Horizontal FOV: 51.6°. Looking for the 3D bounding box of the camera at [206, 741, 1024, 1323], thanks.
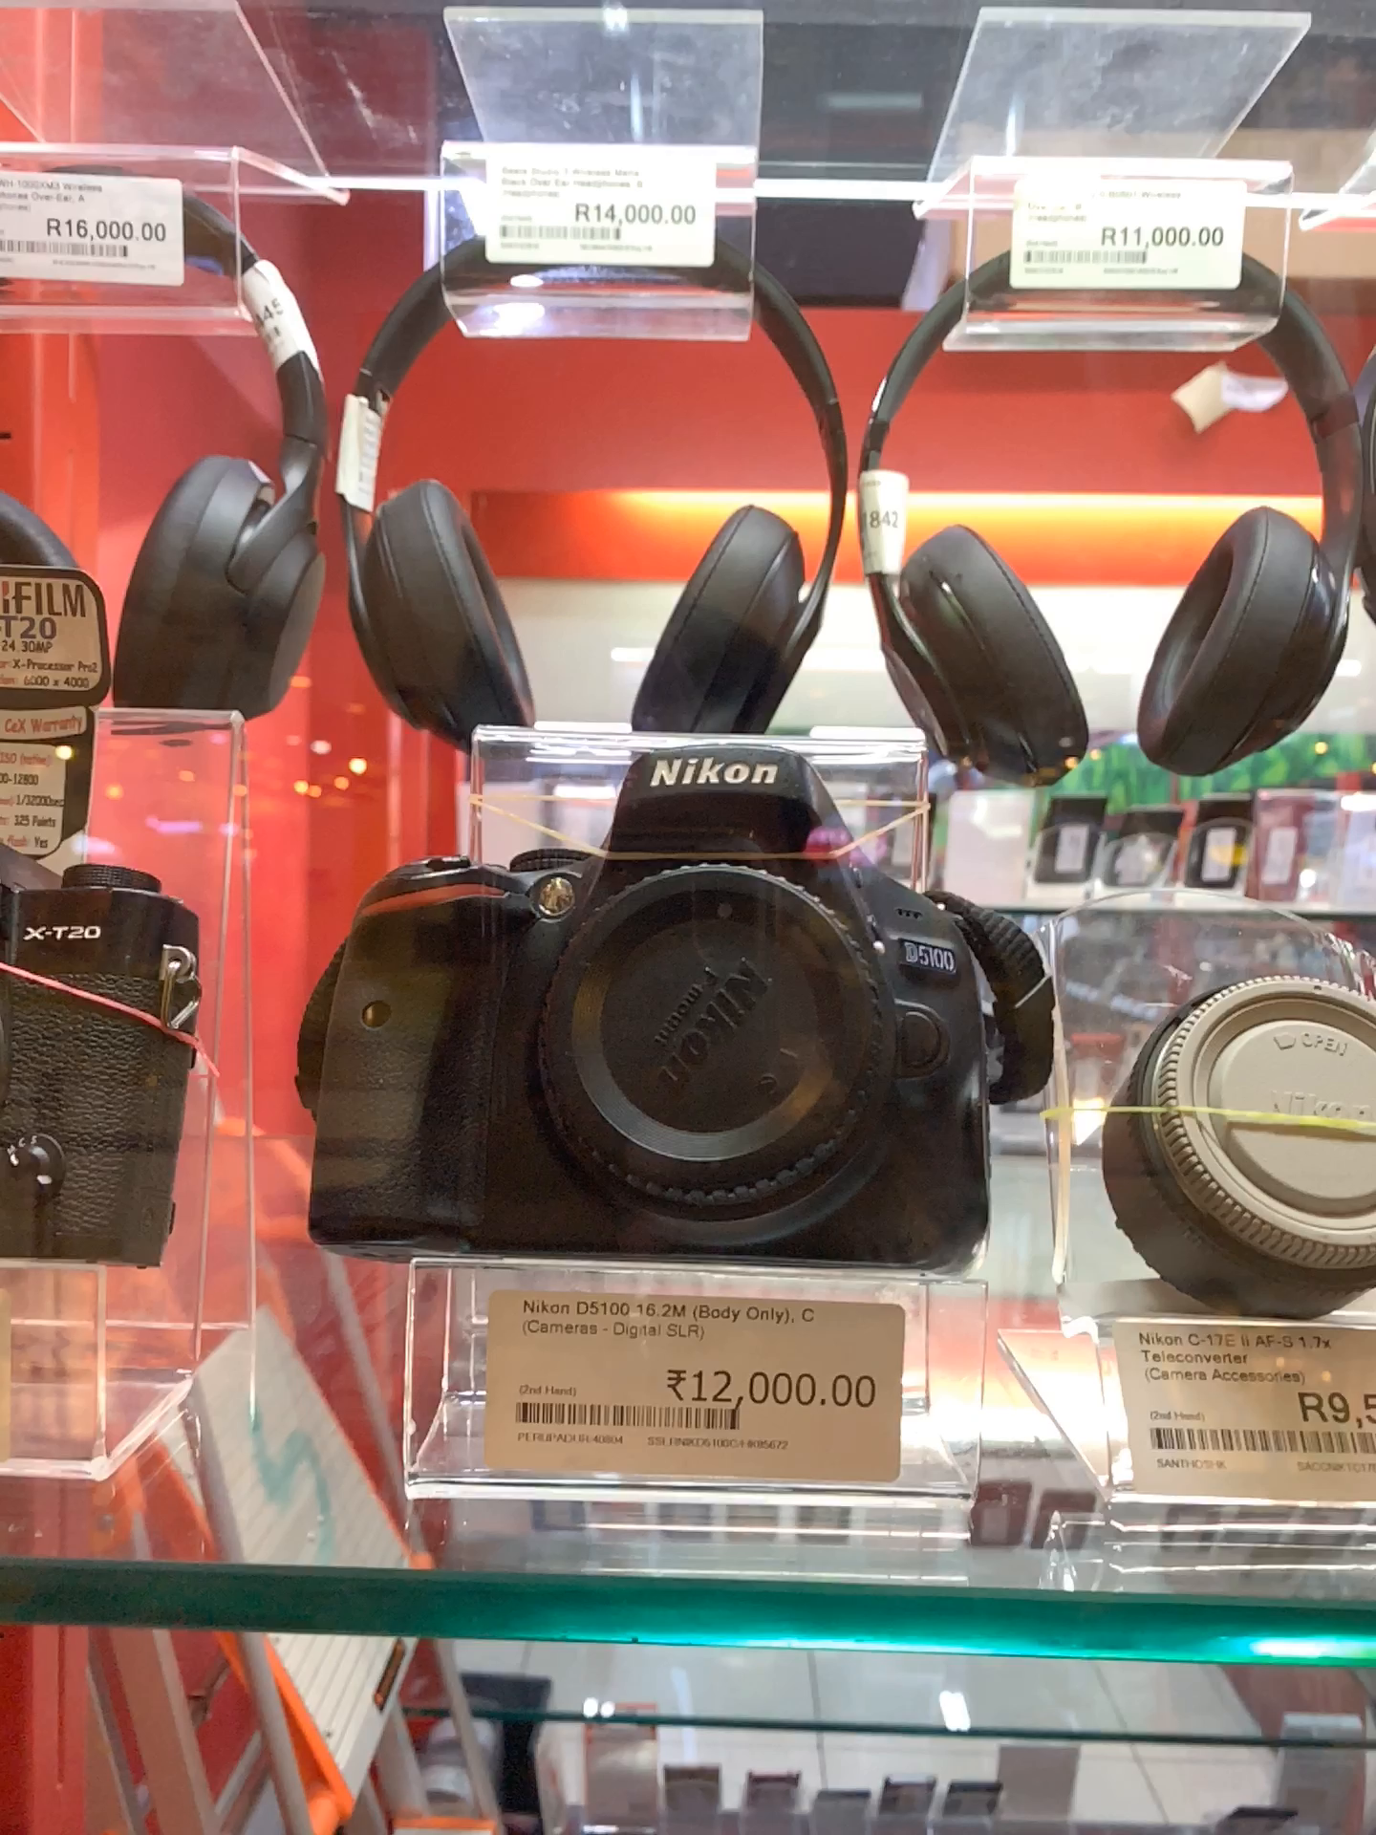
[{"bbox_3d":[-0.011,0.017,0.265,0.130,0.090,0.070,2,1,2],"label":"camera"}]
